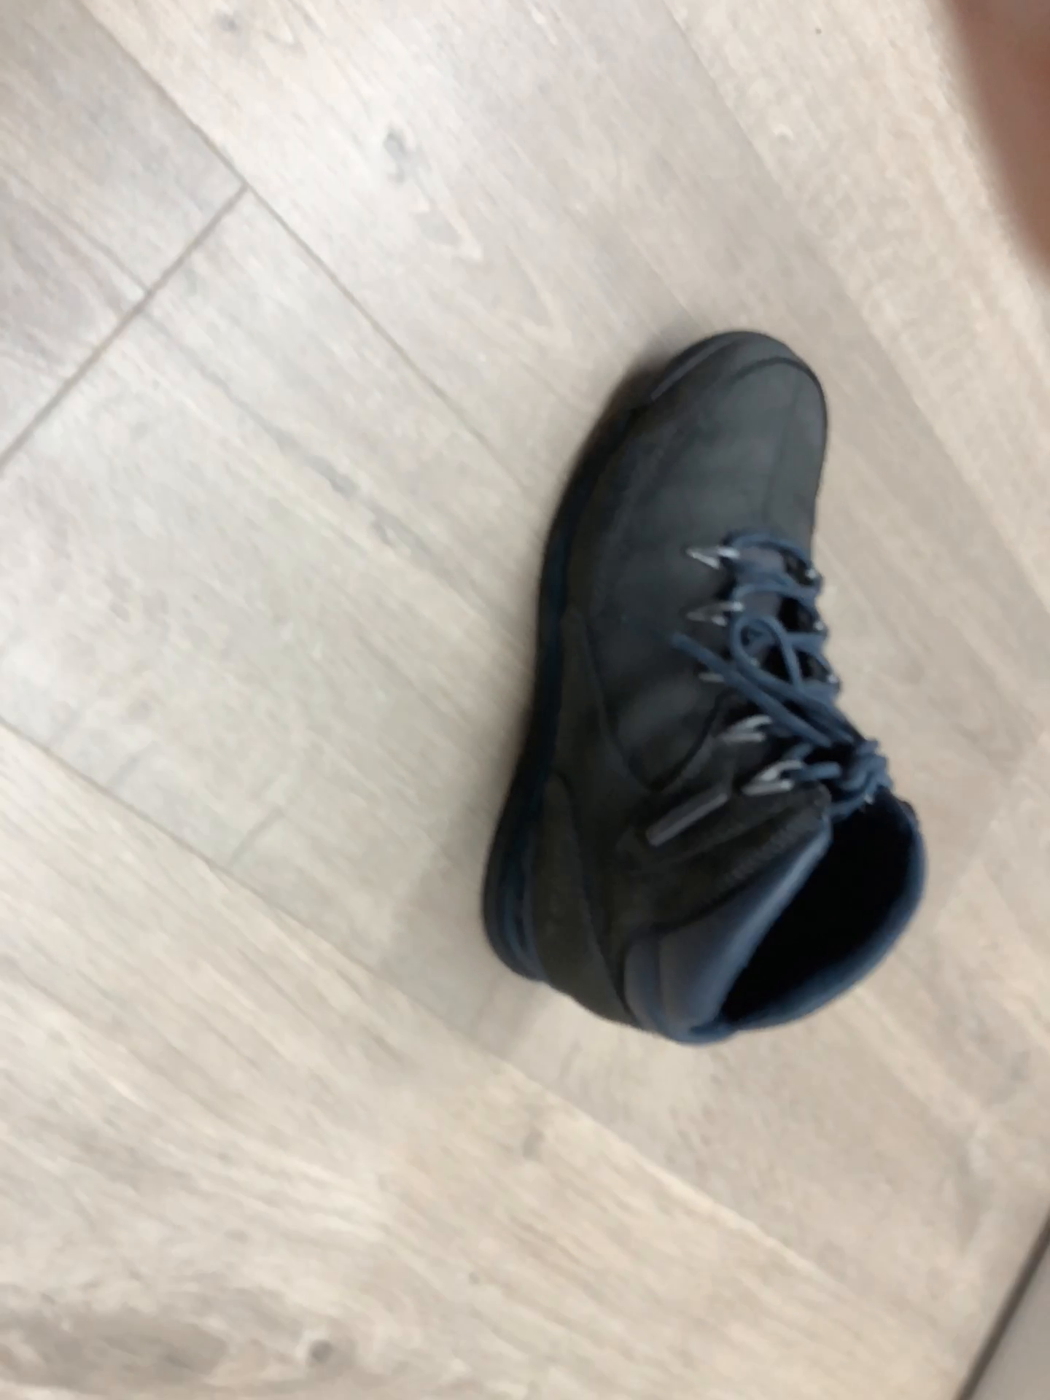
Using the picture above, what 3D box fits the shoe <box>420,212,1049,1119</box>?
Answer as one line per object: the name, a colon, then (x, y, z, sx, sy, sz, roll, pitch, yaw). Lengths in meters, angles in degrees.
shoe: (0.078, -0.010, 0.450, 0.110, 0.130, 0.290, 17, 89, -35)
